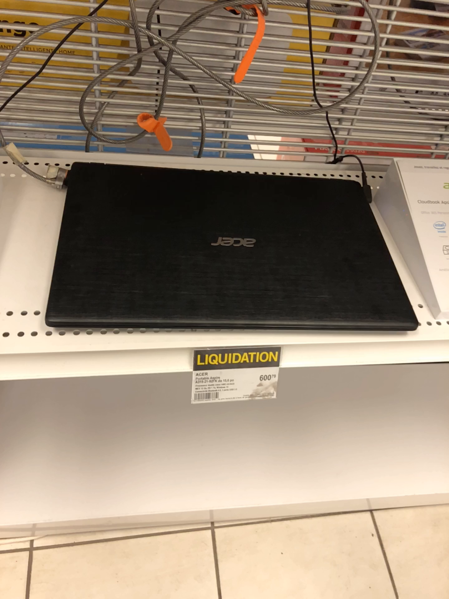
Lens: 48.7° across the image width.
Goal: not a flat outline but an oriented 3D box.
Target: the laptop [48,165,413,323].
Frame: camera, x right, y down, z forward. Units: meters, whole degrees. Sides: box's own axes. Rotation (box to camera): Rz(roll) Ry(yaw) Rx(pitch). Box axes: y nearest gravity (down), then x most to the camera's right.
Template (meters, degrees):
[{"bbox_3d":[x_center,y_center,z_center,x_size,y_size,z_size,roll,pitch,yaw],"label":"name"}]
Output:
[{"bbox_3d":[0.008,-0.072,0.580,0.374,0.003,0.248,1,49,-10],"label":"laptop"}]
